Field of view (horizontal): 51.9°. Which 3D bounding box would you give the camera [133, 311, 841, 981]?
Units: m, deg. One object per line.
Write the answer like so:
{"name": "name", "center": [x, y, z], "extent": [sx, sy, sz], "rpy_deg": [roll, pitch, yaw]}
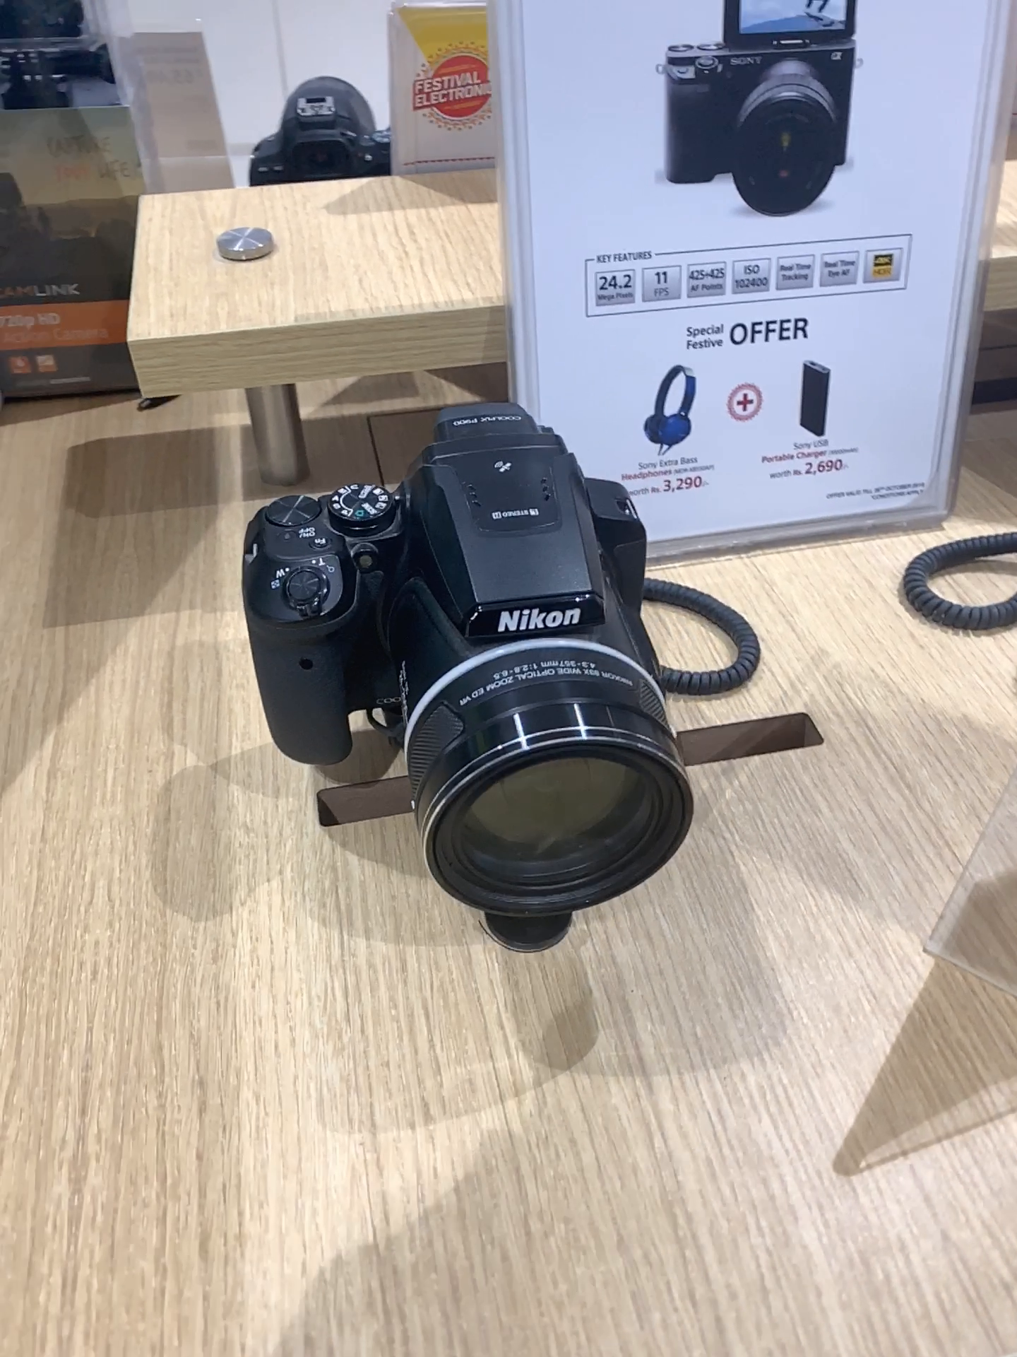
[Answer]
{"name": "camera", "center": [-0.016, -0.019, 0.287], "extent": [0.140, 0.090, 0.151], "rpy_deg": [-8, 44, -9]}
